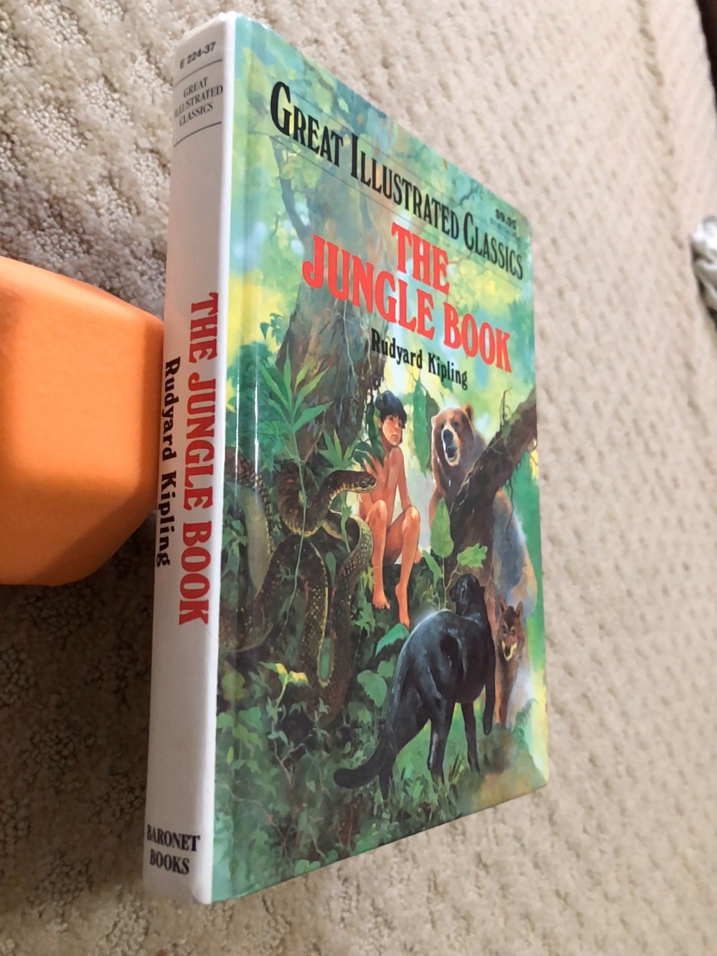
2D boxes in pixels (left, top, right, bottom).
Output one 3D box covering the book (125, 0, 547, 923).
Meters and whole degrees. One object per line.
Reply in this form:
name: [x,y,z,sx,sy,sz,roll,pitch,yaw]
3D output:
book: [0.006,-0.006,0.234,0.141,0.029,0.207,11,76,-49]
